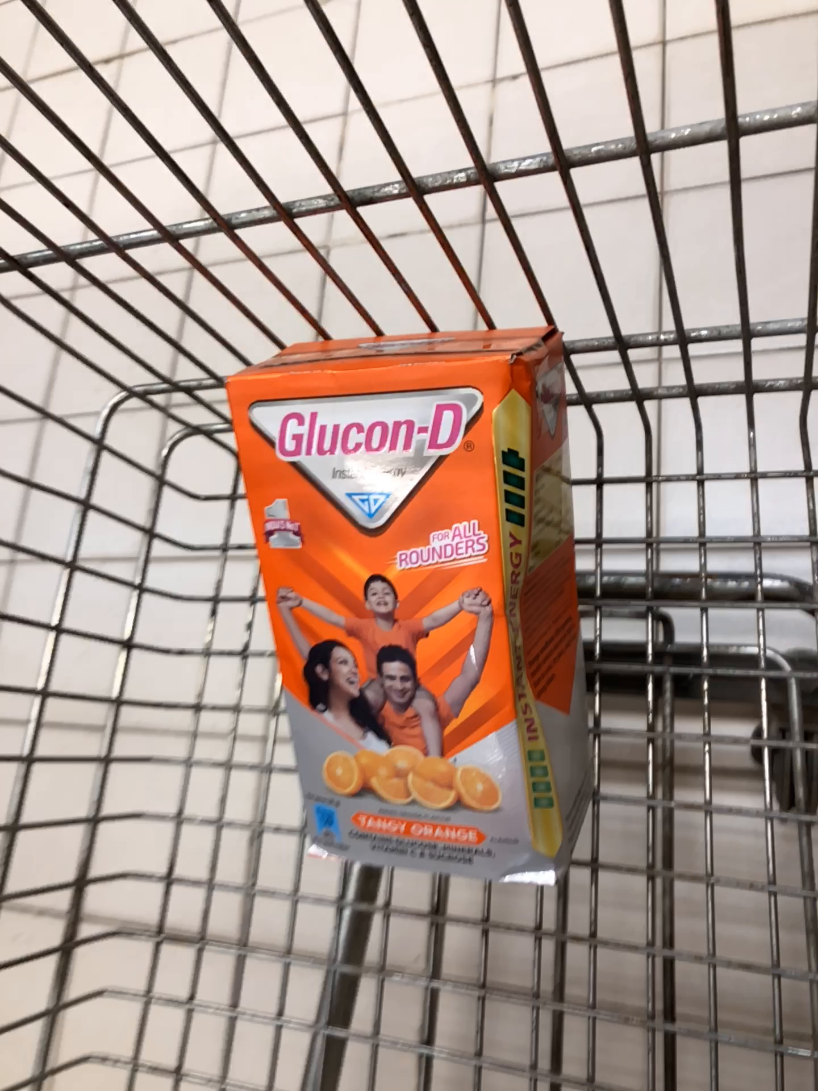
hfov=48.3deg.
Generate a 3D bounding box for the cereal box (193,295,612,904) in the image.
[{"bbox_3d":[0.008,0.014,0.369,0.120,0.100,0.210,0,104,23],"label":"cereal box"}]
